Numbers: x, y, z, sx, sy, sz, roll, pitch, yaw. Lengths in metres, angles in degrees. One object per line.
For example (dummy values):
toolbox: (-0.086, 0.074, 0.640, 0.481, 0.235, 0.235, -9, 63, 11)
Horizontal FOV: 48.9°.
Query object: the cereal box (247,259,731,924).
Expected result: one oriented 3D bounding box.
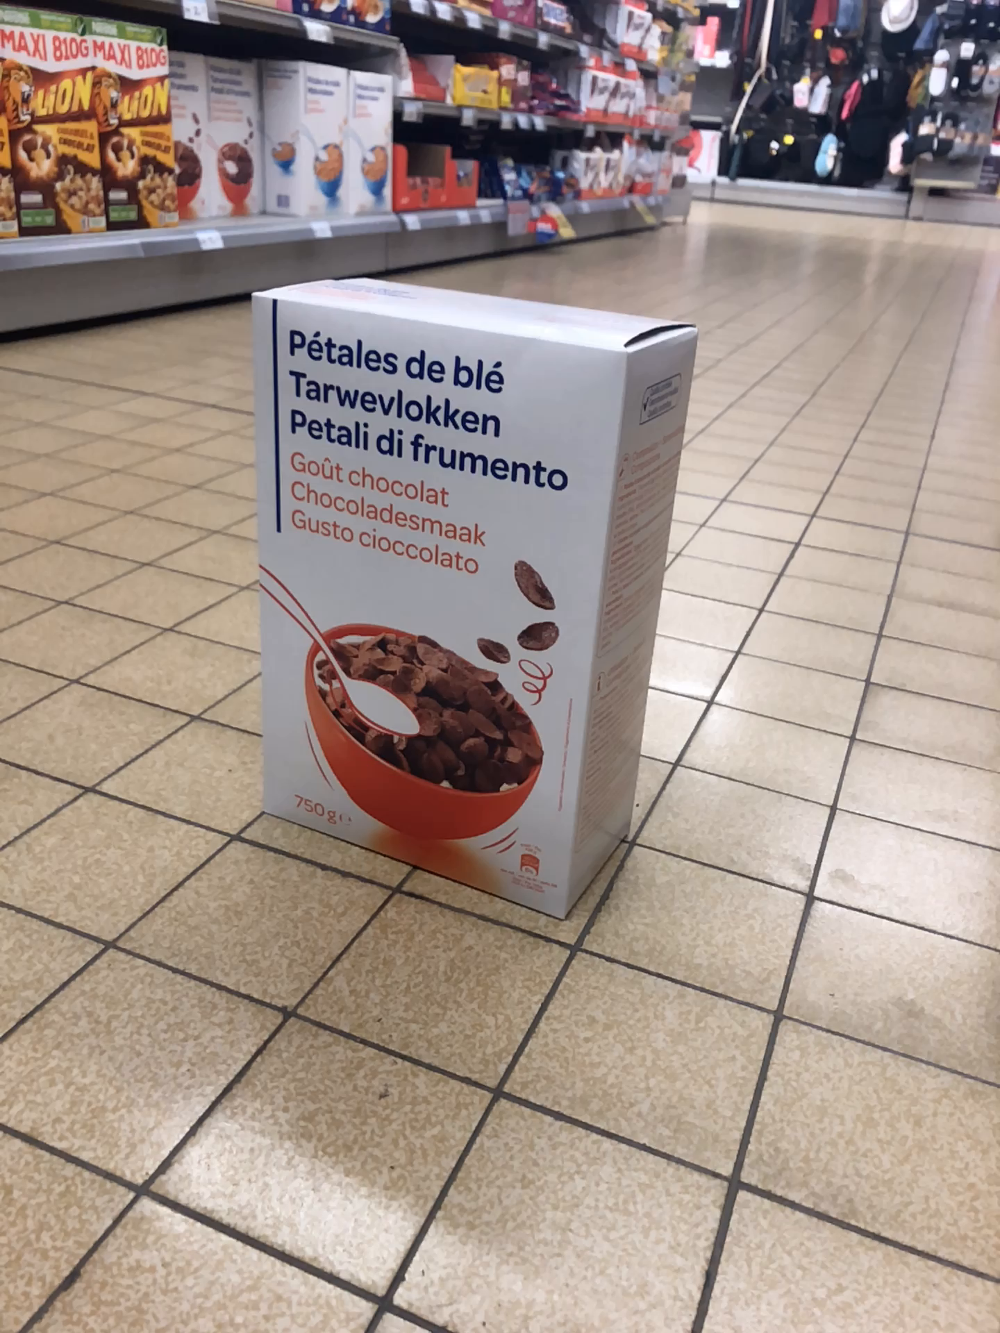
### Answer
cereal box: (-0.014, -0.044, 0.567, 0.200, 0.288, 0.101, 15, 27, 21)
